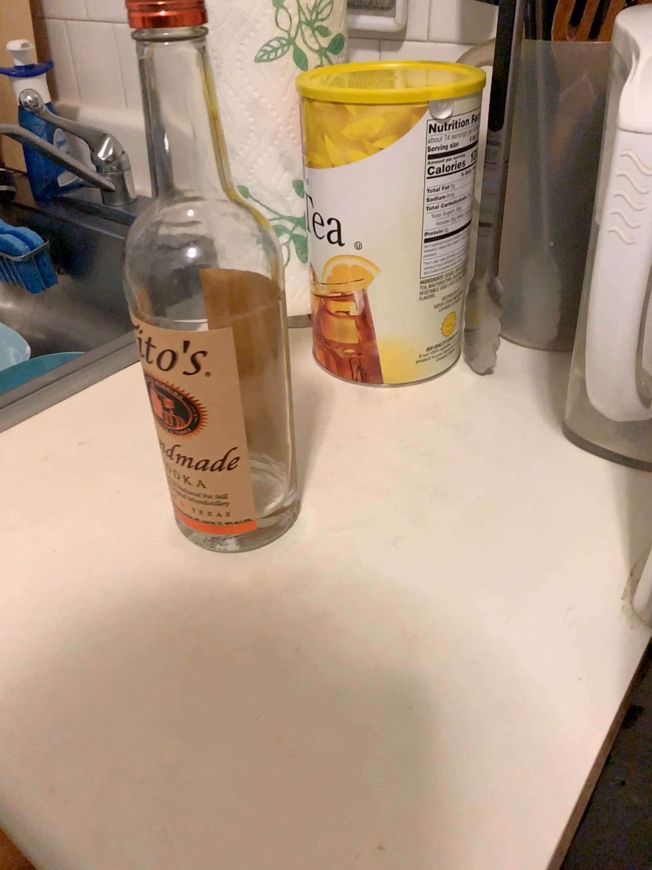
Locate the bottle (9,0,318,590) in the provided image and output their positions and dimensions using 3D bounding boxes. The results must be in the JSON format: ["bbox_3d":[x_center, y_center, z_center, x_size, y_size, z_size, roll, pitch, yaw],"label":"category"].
[{"bbox_3d":[-0.065,-0.062,0.345,0.080,0.288,0.080,-1,36,1],"label":"bottle"}]
